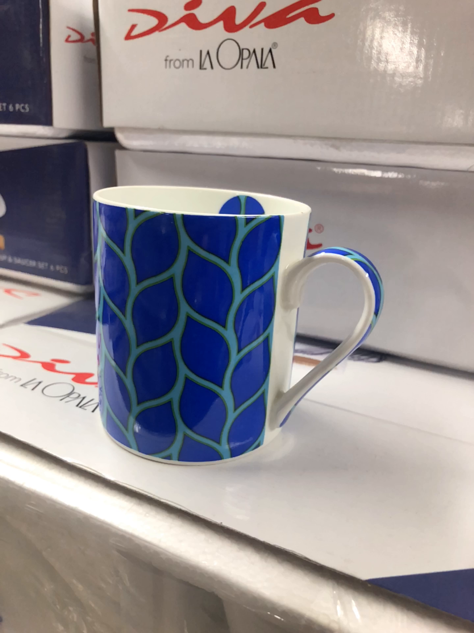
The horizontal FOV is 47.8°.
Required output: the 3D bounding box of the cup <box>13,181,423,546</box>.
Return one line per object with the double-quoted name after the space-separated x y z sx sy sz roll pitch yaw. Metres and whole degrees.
-0.004 0.003 0.201 0.120 0.090 0.080 11 21 23 "cup"
